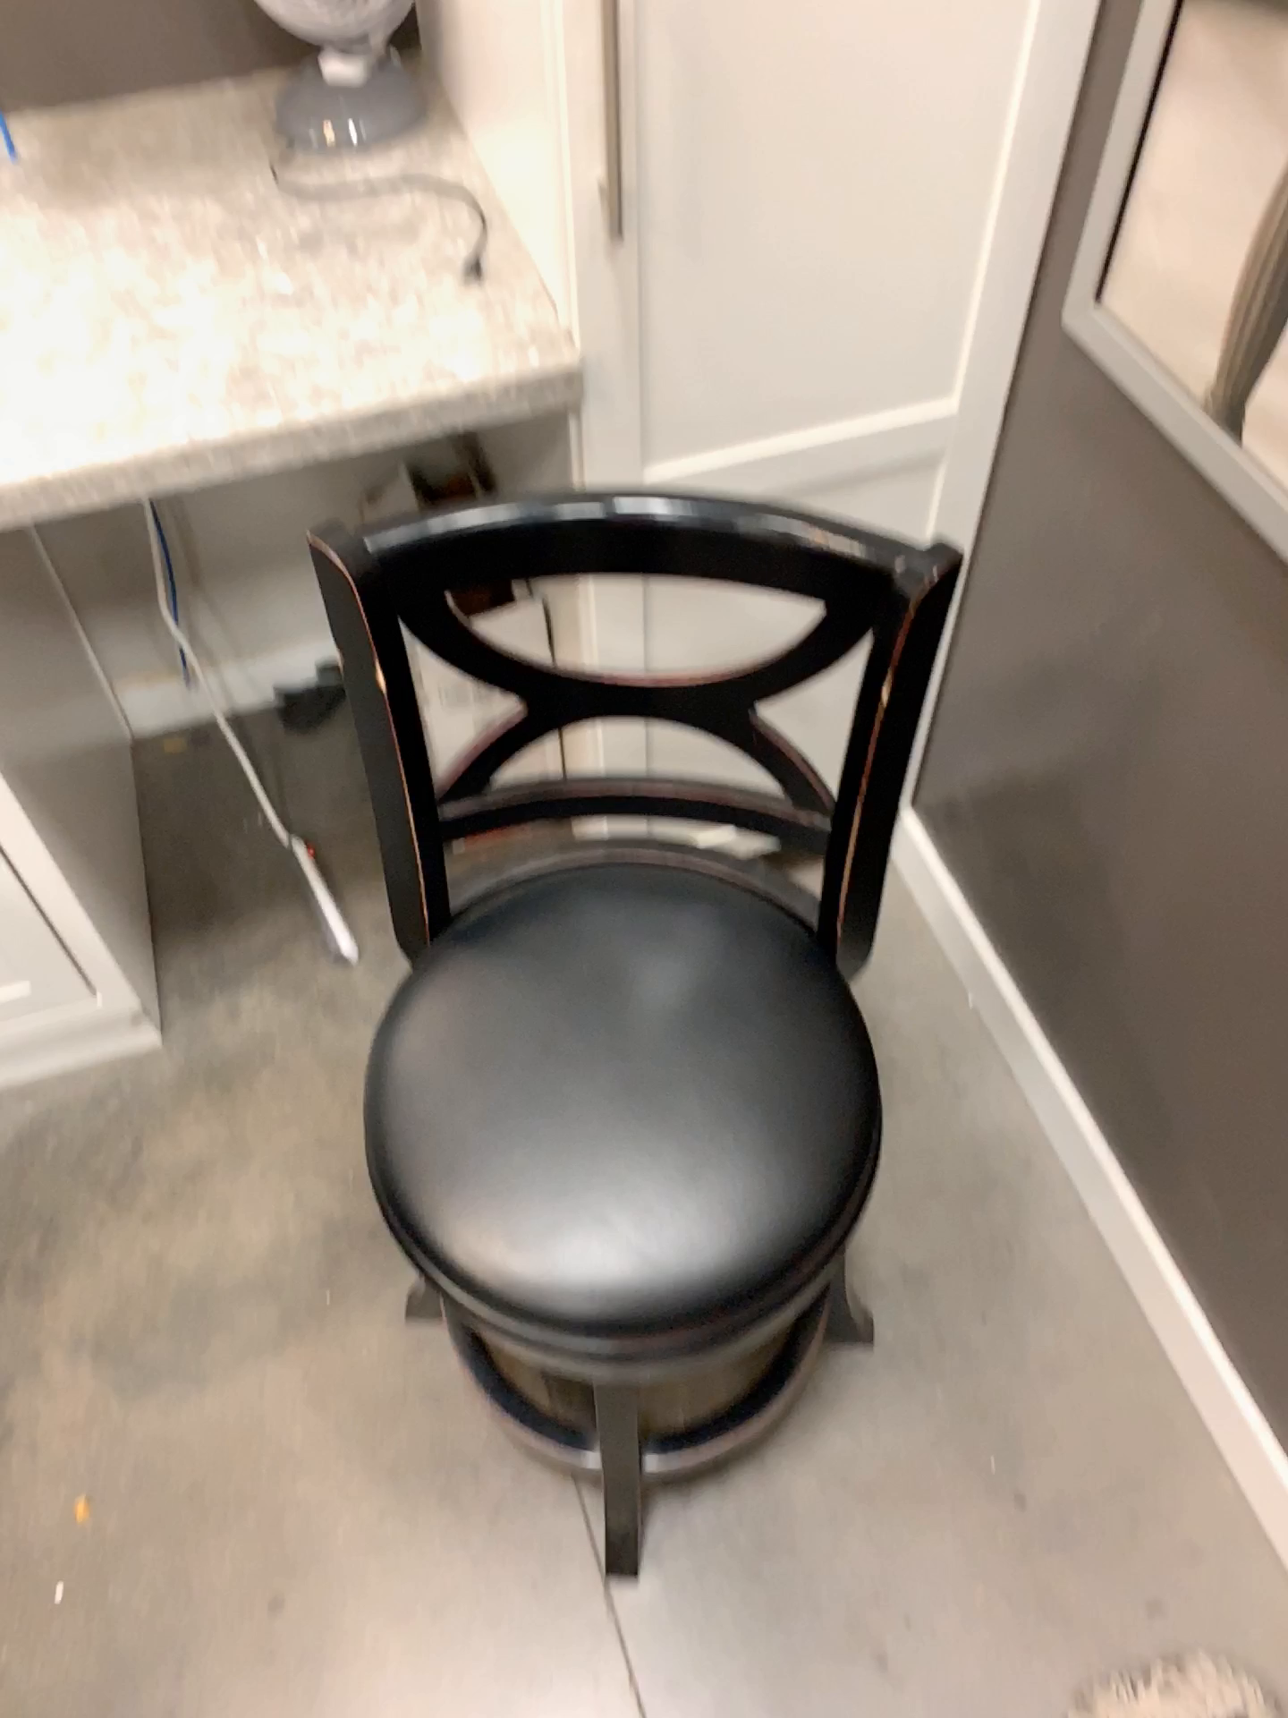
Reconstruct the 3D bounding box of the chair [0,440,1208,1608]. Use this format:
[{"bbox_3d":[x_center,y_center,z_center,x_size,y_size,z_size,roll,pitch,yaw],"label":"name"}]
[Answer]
[{"bbox_3d":[-0.014,0.218,1.137,0.557,0.913,0.606,1,53,2],"label":"chair"}]
